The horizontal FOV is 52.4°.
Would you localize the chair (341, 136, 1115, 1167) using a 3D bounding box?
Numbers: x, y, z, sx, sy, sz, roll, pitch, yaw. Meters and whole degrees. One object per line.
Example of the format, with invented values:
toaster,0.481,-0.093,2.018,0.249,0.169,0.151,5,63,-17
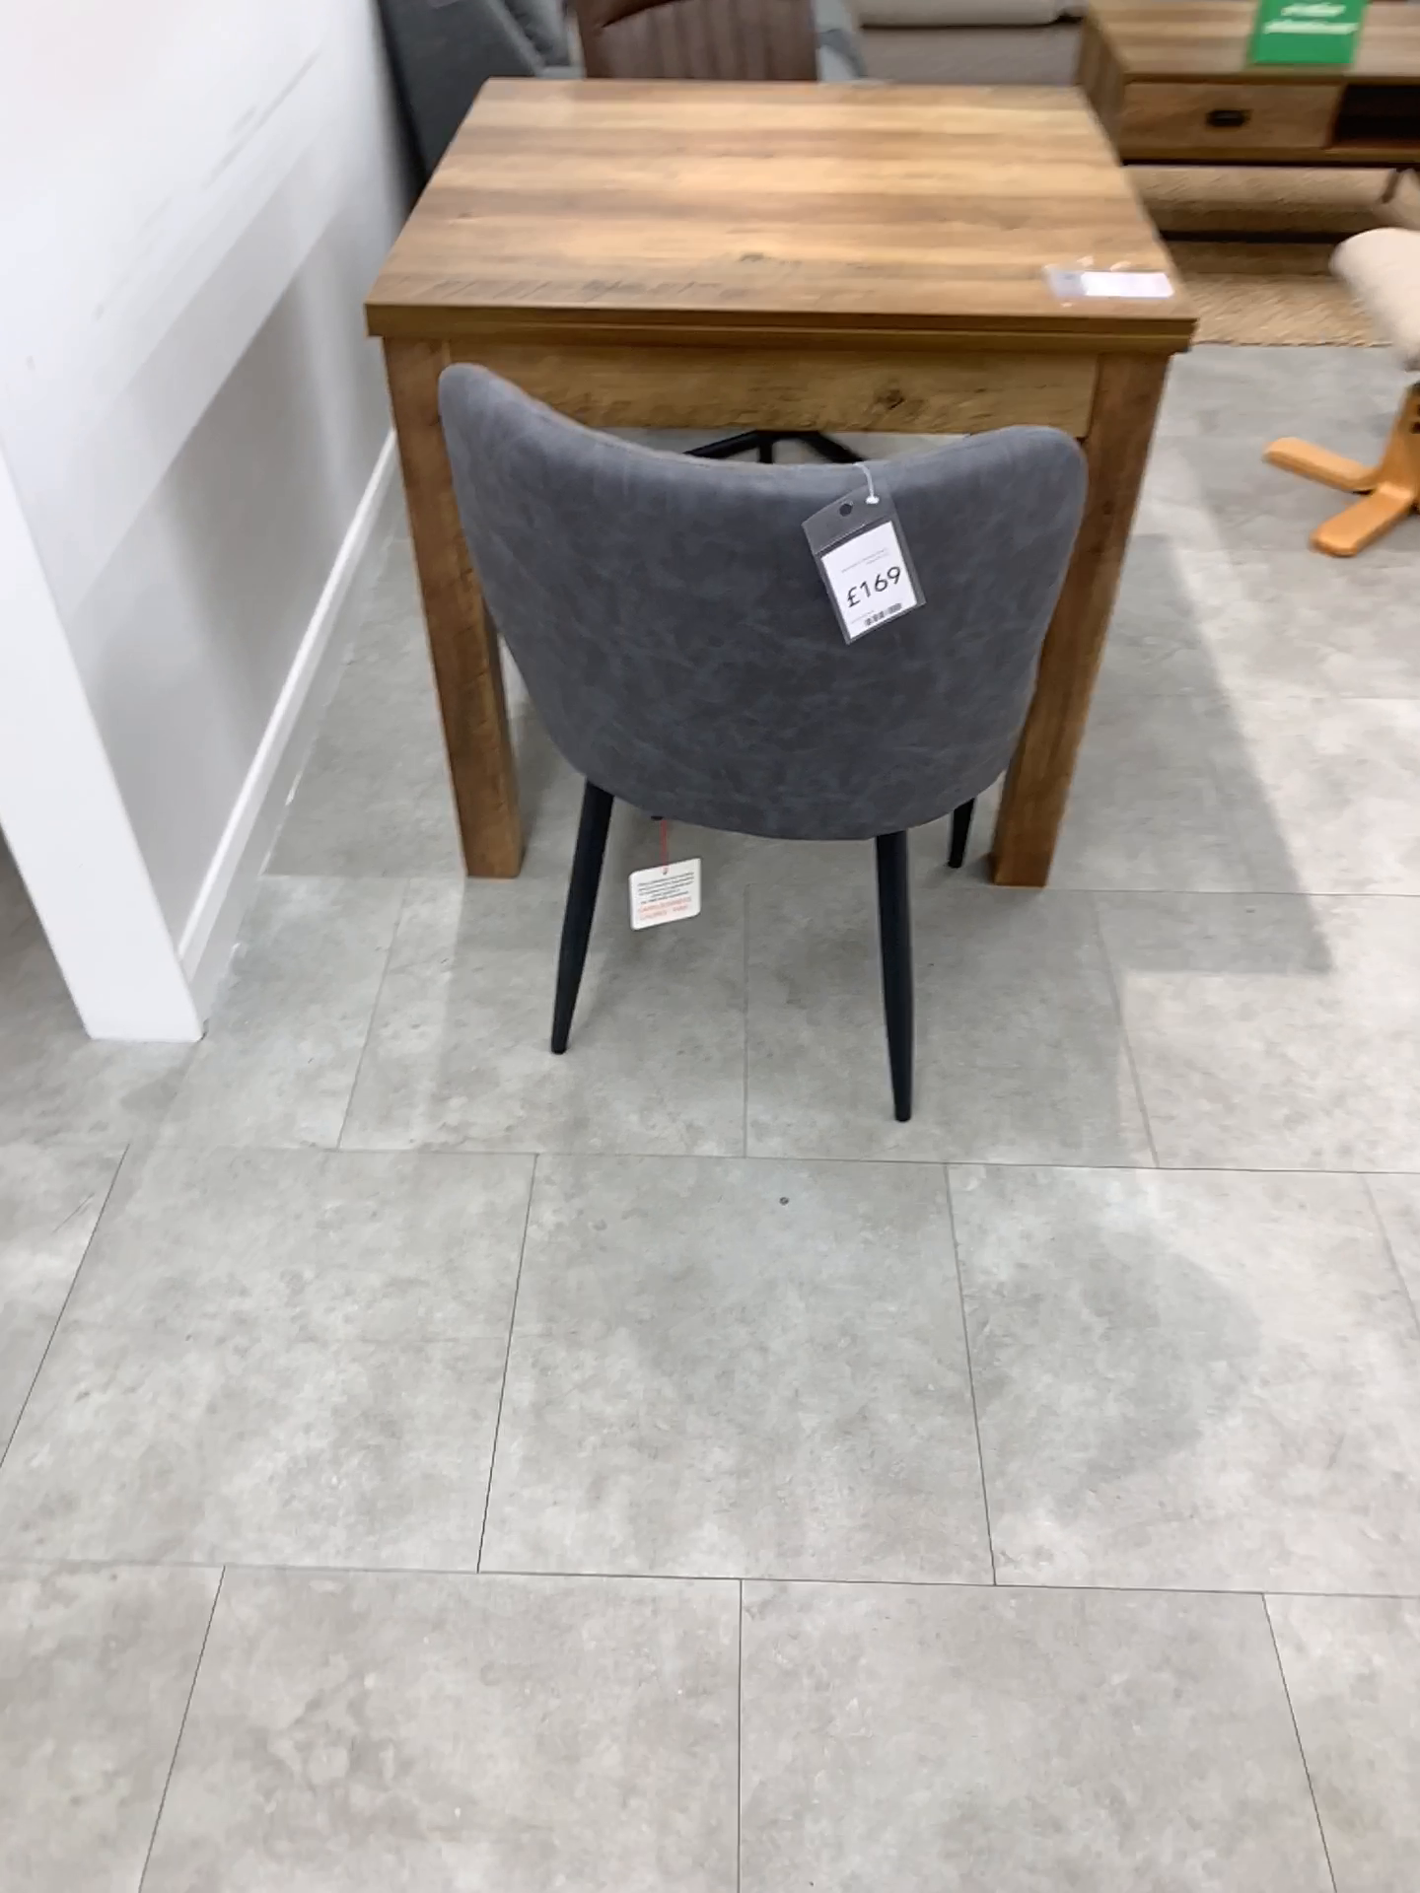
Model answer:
chair,0.057,-0.280,1.431,0.528,0.775,0.555,8,44,8
